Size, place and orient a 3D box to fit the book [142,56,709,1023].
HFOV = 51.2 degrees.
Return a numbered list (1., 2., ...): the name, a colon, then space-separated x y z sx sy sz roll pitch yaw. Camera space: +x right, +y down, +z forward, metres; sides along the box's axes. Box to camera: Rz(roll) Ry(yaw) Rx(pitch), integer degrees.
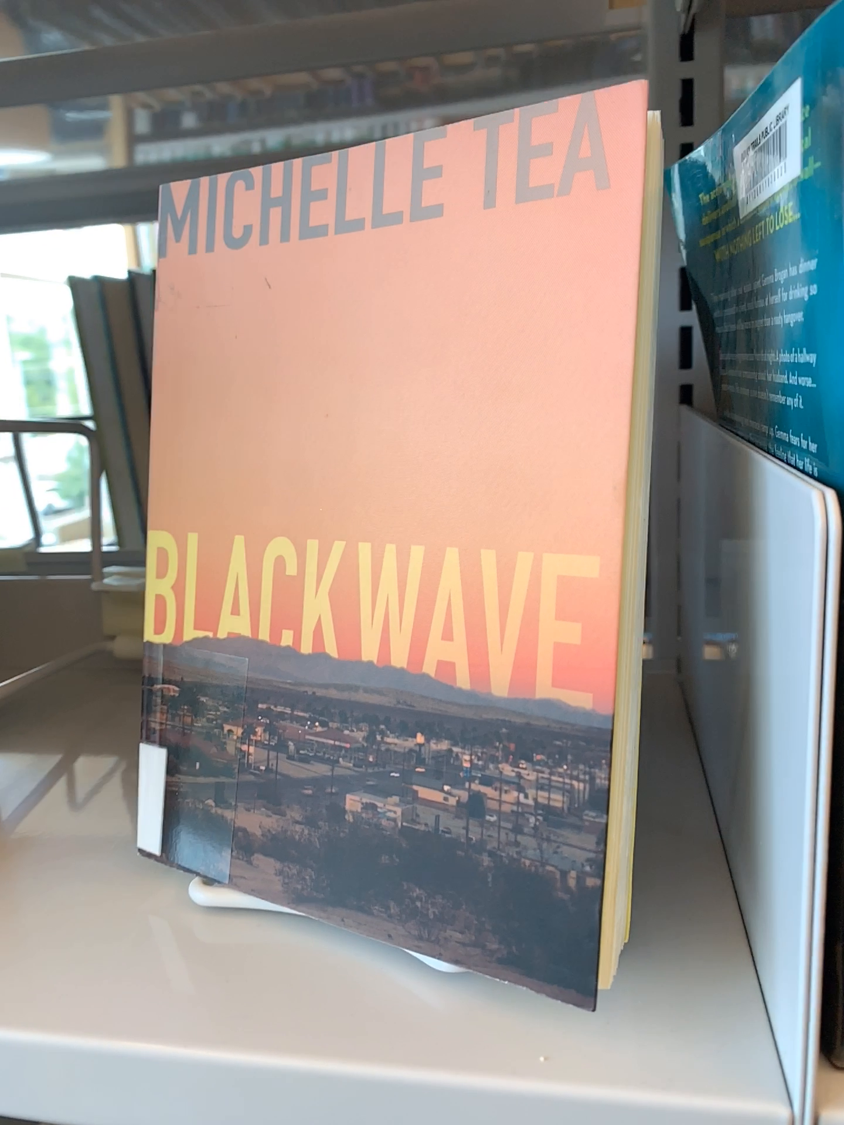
1. book: -0.008 -0.008 0.236 0.147 0.201 0.036 4 3 32
